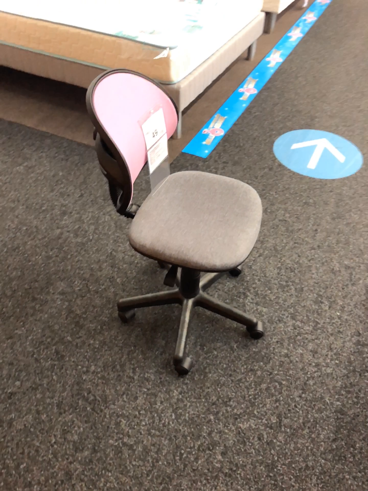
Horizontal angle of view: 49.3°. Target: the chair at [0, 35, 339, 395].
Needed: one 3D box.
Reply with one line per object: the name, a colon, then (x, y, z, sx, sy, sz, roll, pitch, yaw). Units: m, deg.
chair: (-0.002, -0.071, 1.170, 0.600, 0.776, 0.604, 7, 46, 6)
